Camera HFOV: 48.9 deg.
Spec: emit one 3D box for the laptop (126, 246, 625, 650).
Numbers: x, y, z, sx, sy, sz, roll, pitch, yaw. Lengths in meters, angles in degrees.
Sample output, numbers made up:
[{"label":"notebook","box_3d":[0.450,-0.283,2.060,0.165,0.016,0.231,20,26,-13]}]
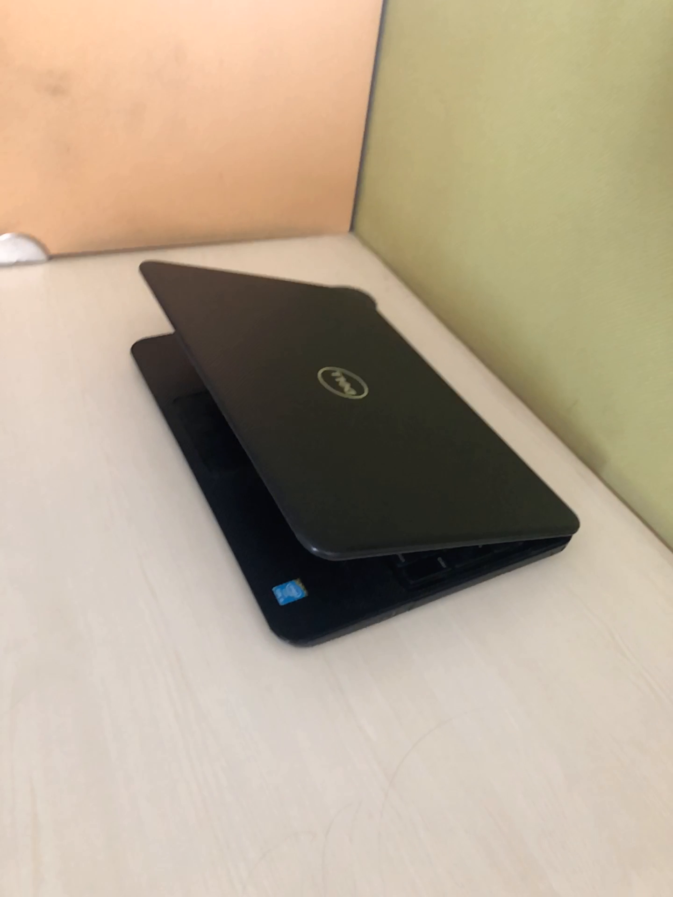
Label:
[{"label":"laptop","box_3d":[0.004,-0.038,0.601,0.247,0.078,0.355,-14,45,-24]}]
